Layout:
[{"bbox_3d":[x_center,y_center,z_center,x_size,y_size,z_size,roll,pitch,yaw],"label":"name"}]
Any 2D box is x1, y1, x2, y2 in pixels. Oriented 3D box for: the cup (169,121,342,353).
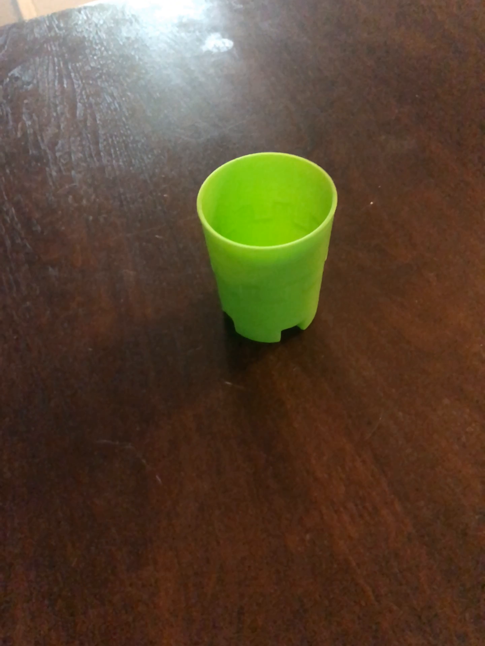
[{"bbox_3d":[0.006,-0.043,0.287,0.070,0.090,0.070,-2,55,3],"label":"cup"}]
